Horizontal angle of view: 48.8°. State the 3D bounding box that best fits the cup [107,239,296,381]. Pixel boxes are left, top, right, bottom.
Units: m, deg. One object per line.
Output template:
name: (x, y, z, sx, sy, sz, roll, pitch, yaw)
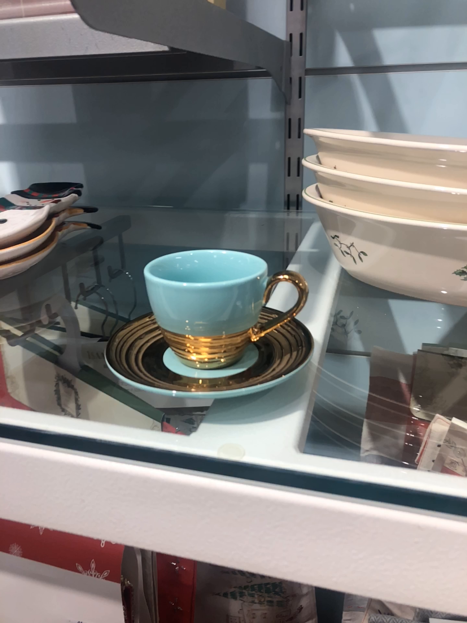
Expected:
cup: (-0.012, -0.005, 0.279, 0.084, 0.050, 0.070, 3, 23, 11)
